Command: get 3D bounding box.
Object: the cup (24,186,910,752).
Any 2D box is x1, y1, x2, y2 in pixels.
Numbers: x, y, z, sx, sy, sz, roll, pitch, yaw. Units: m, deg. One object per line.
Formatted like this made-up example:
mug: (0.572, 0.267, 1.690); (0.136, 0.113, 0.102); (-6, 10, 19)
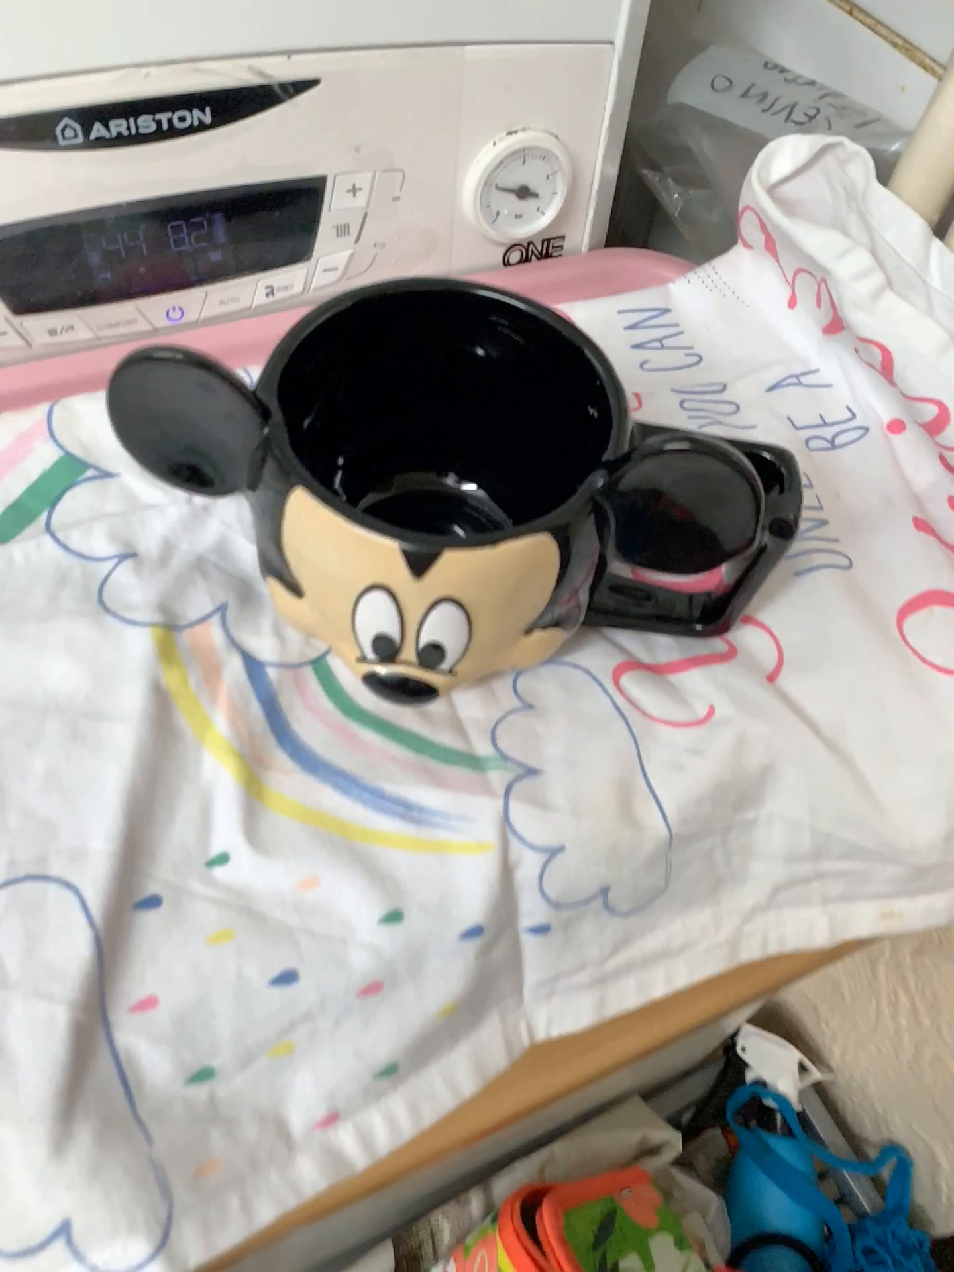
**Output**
cup: (0.001, -0.046, 0.267); (0.190, 0.079, 0.101); (9, 54, 1)
